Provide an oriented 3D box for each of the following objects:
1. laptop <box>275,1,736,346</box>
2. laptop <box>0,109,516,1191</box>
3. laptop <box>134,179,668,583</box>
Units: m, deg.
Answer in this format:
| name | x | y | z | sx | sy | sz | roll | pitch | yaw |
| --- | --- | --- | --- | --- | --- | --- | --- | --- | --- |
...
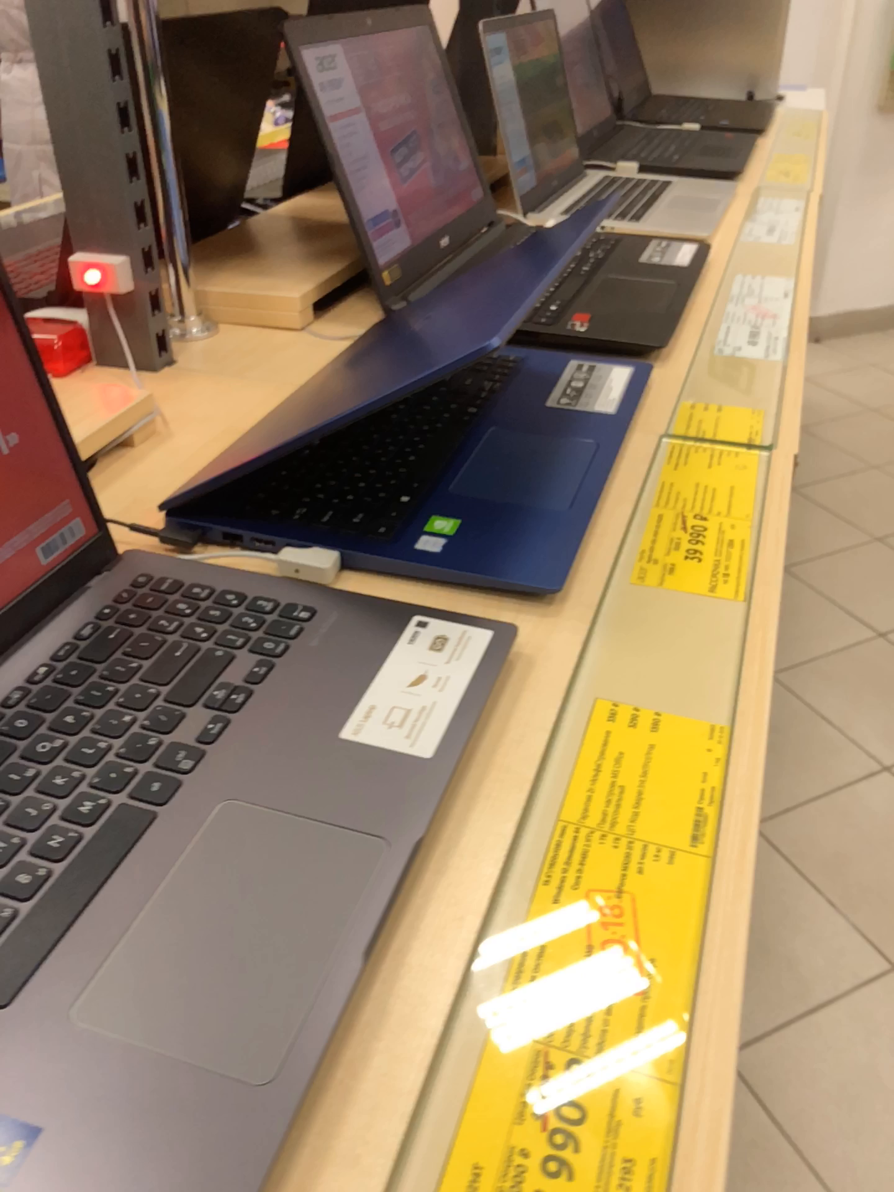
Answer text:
| name | x | y | z | sx | sy | sz | roll | pitch | yaw |
| --- | --- | --- | --- | --- | --- | --- | --- | --- | --- |
| laptop | 0.077 | -0.450 | 1.000 | 0.353 | 0.226 | 0.359 | 12 | 35 | 16 |
| laptop | -0.172 | -0.006 | 0.324 | 0.302 | 0.206 | 0.392 | 12 | 34 | 13 |
| laptop | 0.001 | -0.180 | 0.694 | 0.245 | 0.126 | 0.369 | 11 | 35 | 15 |
